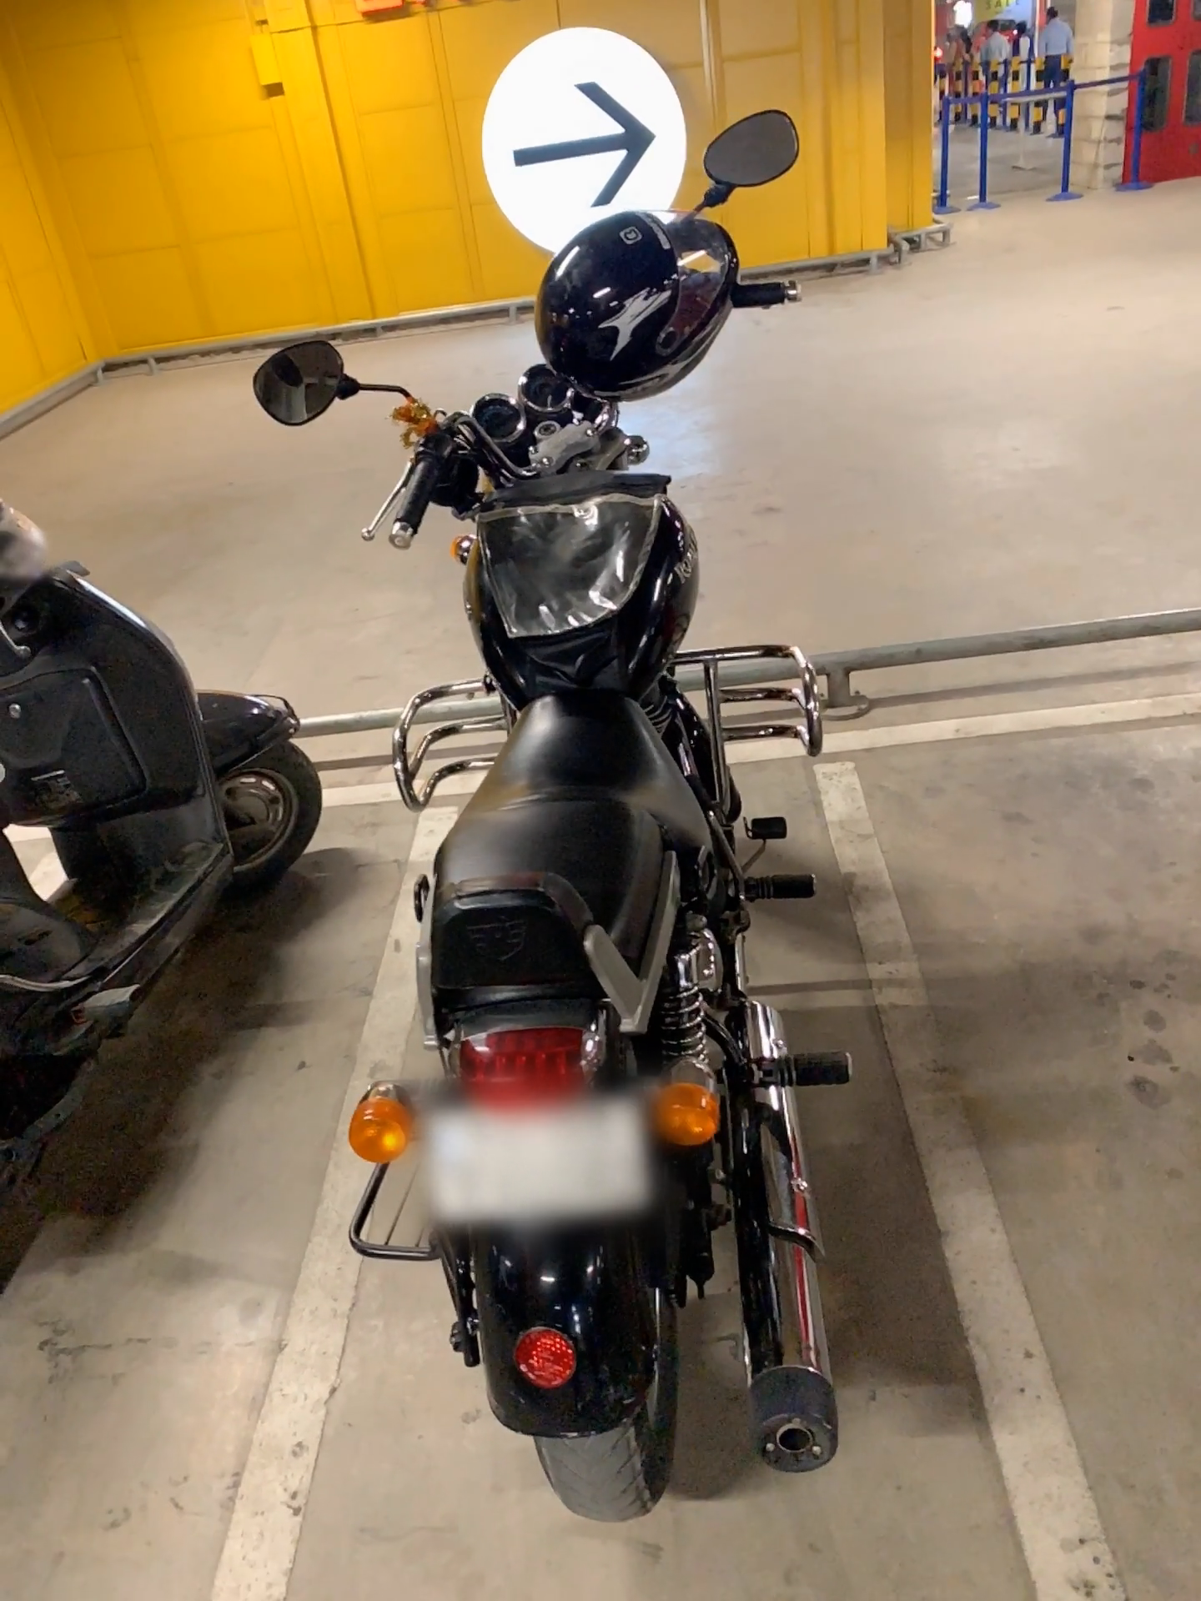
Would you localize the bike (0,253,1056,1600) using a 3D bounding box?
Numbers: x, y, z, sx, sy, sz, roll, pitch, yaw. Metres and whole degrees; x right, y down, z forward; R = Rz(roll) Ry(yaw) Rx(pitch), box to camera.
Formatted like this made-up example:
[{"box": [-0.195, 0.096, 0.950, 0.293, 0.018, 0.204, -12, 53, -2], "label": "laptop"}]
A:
[{"box": [-0.087, -0.088, 2.031, 0.828, 1.228, 2.087, -8, 29, 2], "label": "bike"}]
